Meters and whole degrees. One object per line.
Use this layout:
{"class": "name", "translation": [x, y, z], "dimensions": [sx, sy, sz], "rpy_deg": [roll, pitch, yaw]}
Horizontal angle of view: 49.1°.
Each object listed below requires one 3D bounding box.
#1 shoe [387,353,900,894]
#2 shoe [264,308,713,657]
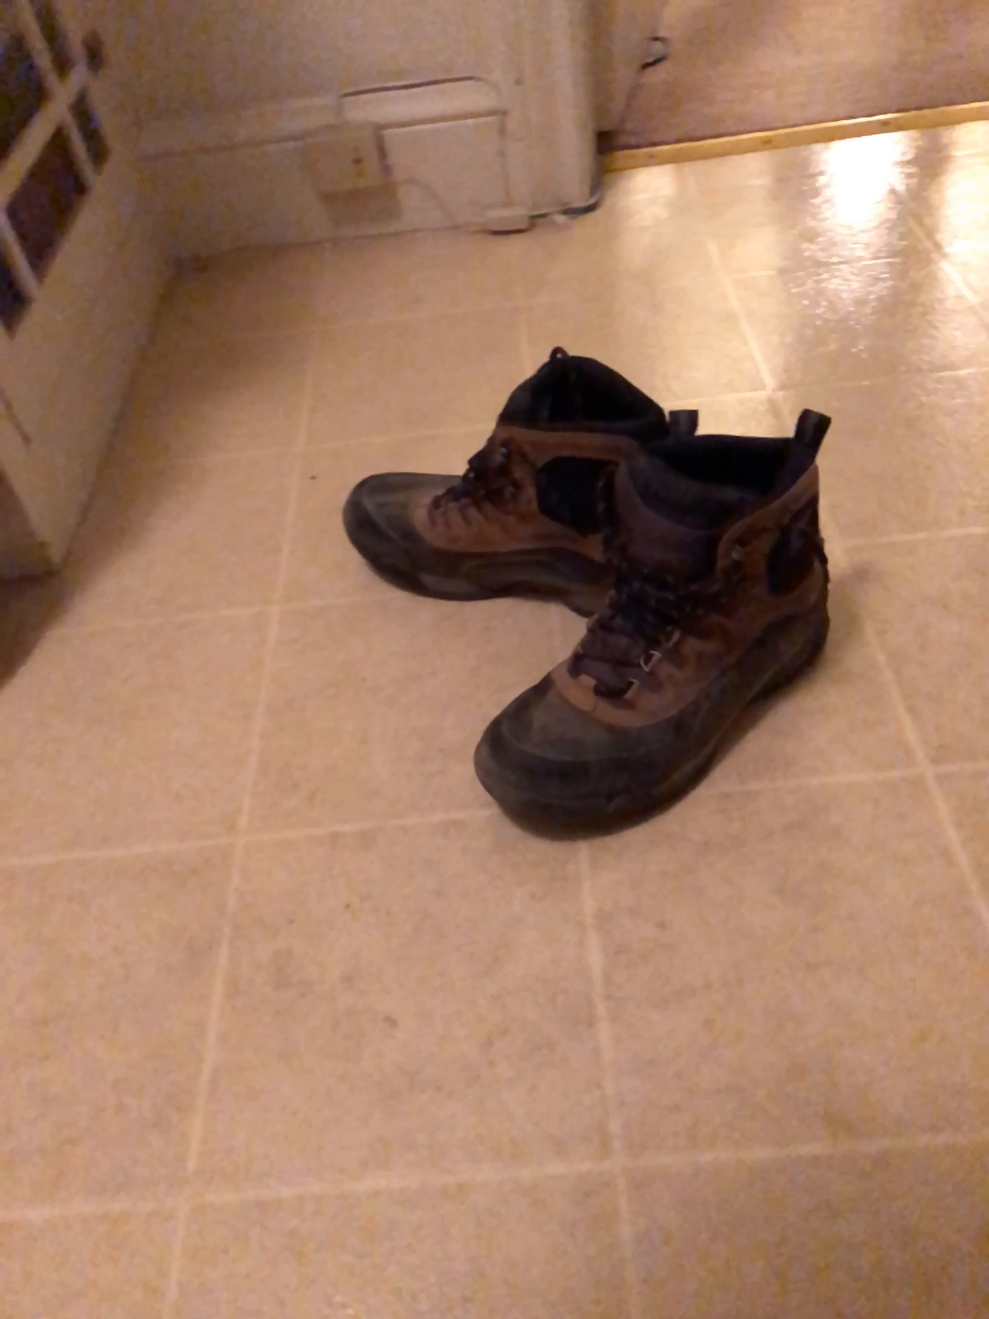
{"class": "shoe", "translation": [0.103, -0.030, 0.692], "dimensions": [0.300, 0.185, 0.122], "rpy_deg": [-35, 50, -23]}
{"class": "shoe", "translation": [0.003, -0.137, 0.814], "dimensions": [0.293, 0.185, 0.114], "rpy_deg": [13, 49, 22]}
